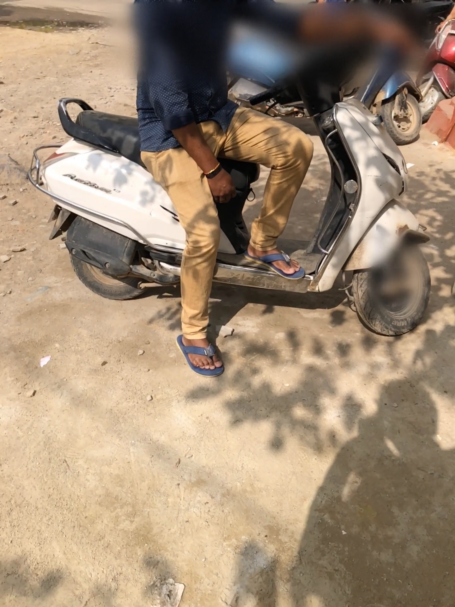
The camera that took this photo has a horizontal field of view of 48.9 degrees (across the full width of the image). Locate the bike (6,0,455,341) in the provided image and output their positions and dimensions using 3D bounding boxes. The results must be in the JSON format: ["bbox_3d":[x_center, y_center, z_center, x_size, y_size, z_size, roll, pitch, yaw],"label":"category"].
[{"bbox_3d":[0.126,-0.568,2.142,1.592,1.187,0.625,6,38,5],"label":"bike"}]
